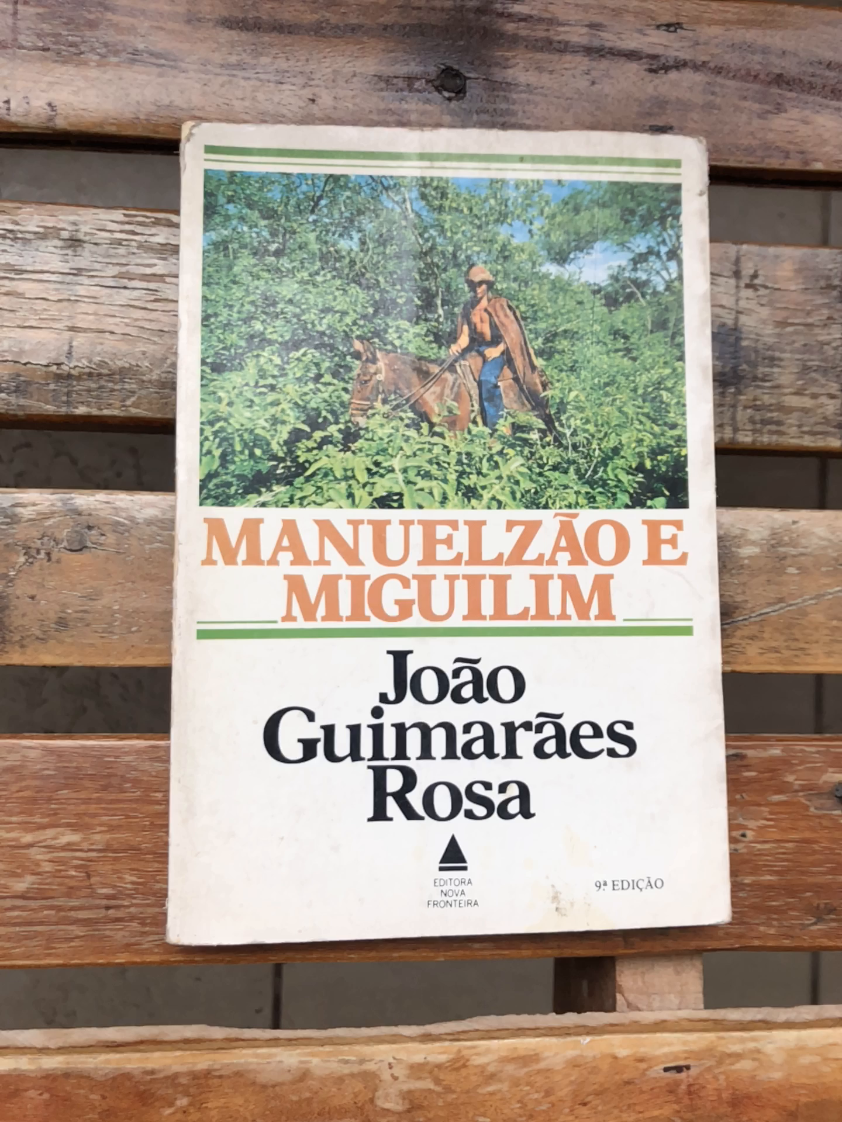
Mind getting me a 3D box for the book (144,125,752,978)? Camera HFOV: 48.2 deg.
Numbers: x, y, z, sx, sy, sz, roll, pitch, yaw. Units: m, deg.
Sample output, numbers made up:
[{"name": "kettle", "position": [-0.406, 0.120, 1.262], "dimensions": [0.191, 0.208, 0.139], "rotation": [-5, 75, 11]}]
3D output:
[{"name": "book", "position": [0.005, -0.006, 0.236], "dimensions": [0.141, 0.020, 0.200], "rotation": [-1, 85, -5]}]
